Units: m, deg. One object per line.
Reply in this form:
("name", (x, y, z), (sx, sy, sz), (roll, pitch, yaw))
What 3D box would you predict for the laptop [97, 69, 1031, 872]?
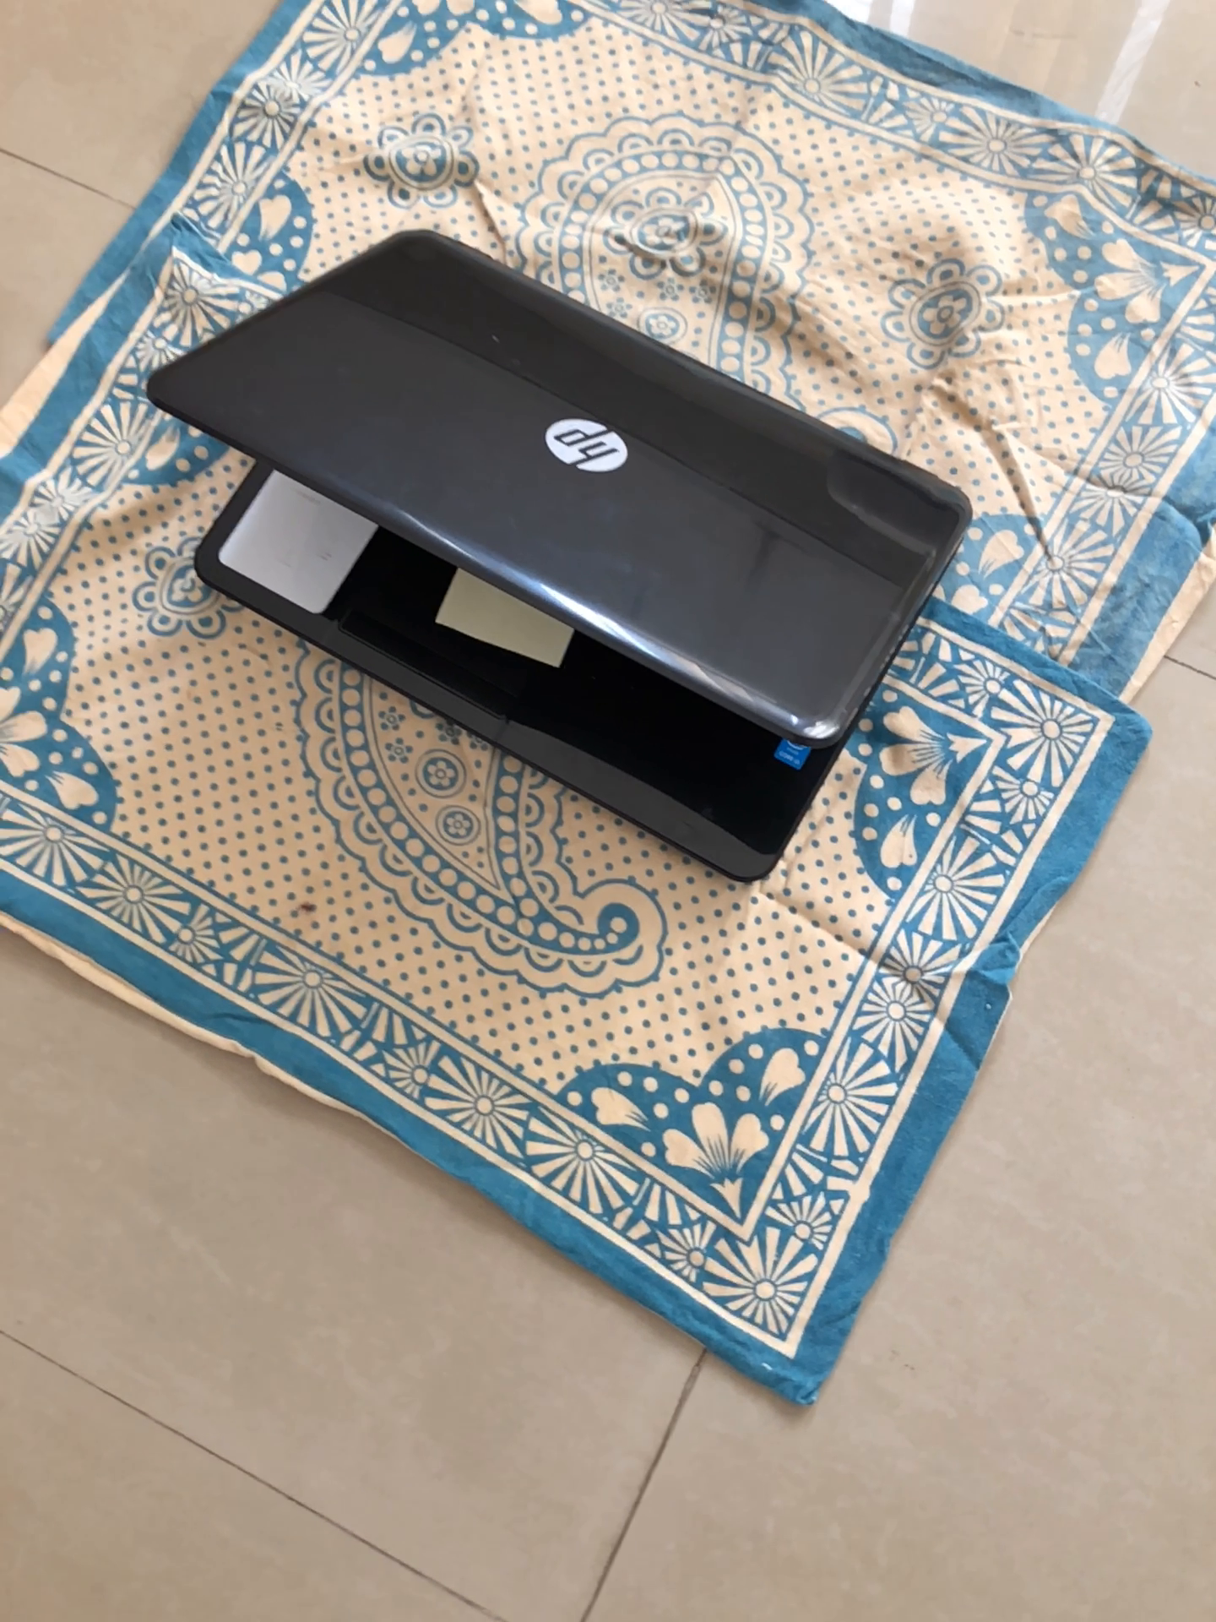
("laptop", (-0.019, -0.171, 0.683), (0.363, 0.151, 0.237), (29, 78, 11))
